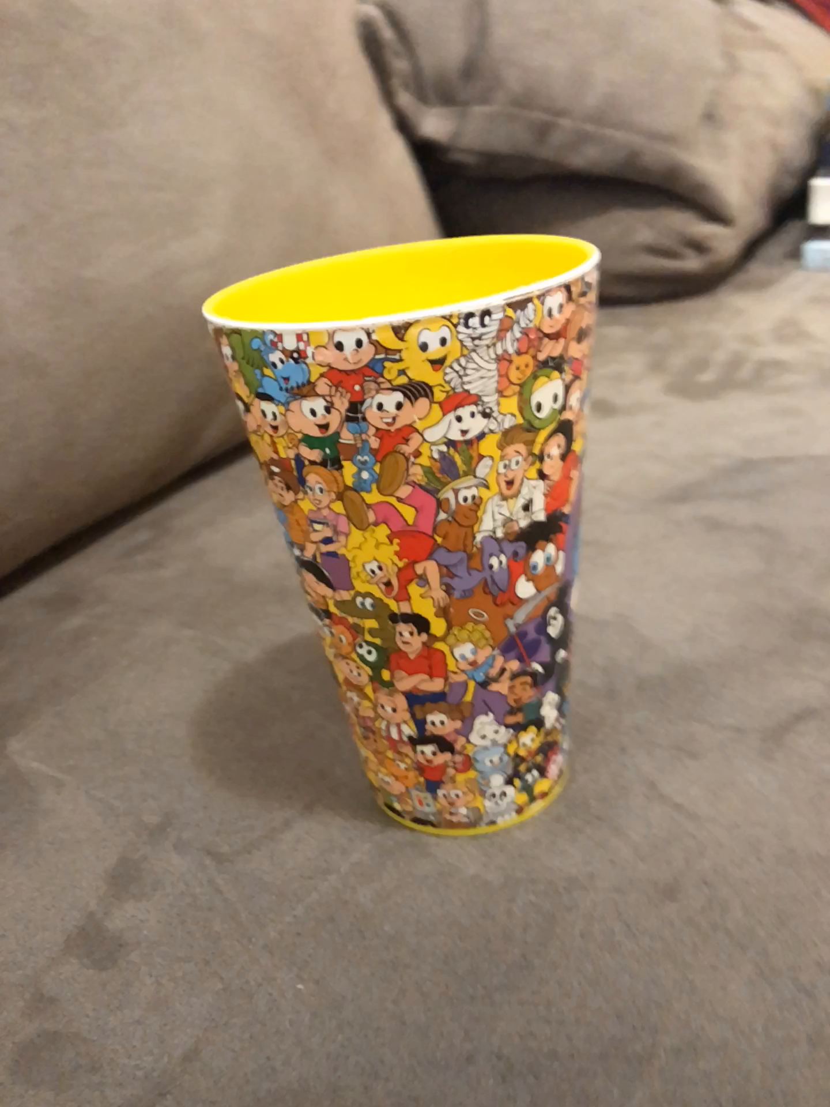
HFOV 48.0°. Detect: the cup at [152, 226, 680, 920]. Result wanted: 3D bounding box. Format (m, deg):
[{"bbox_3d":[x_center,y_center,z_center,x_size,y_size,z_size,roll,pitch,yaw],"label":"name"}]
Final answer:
[{"bbox_3d":[0.002,-0.003,0.247,0.090,0.139,0.091,-8,26,4],"label":"cup"}]
